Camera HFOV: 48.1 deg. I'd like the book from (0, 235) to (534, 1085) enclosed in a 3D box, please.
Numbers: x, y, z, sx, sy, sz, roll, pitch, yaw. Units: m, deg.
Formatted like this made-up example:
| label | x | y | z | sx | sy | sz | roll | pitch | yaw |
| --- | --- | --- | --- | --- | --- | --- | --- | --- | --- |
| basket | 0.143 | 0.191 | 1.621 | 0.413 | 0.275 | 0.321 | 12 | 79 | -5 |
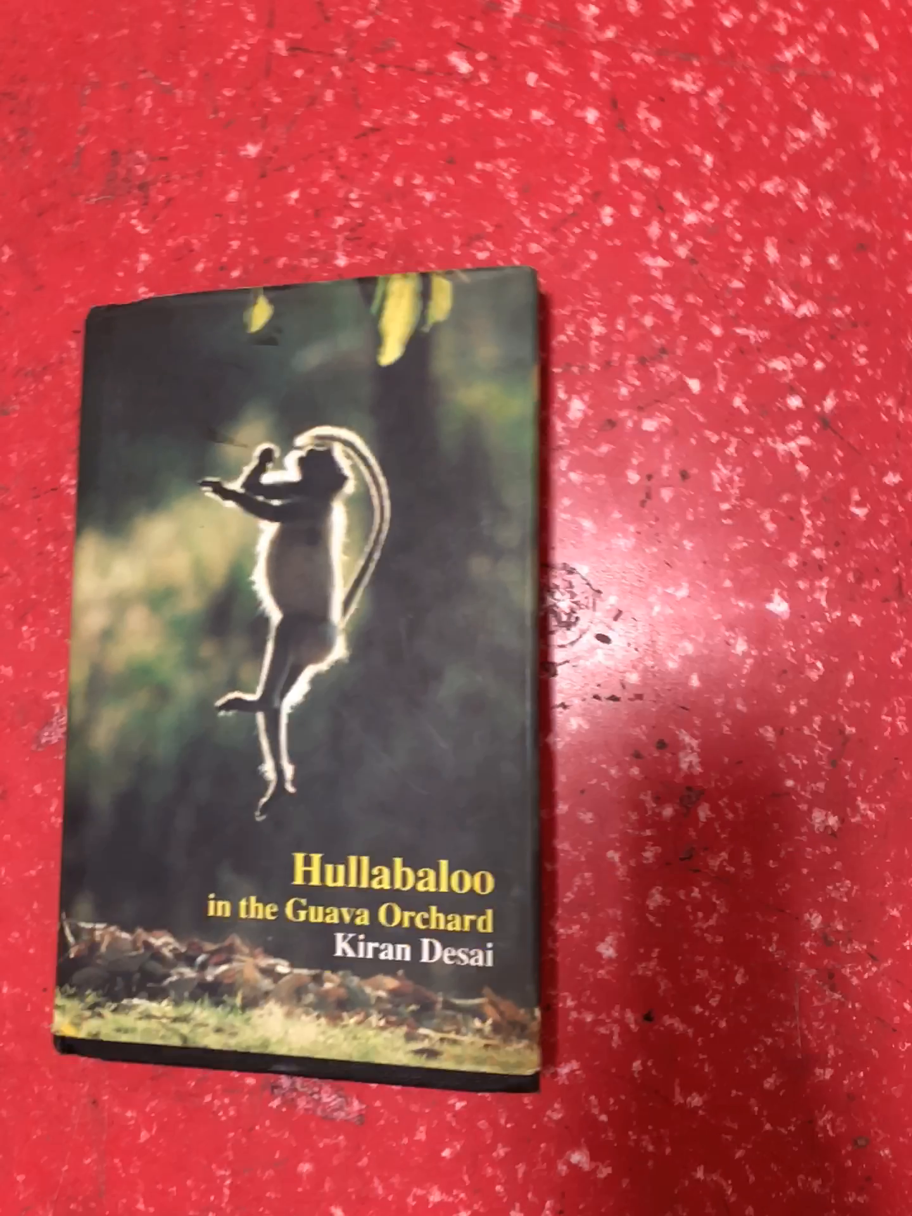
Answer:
| label | x | y | z | sx | sy | sz | roll | pitch | yaw |
| --- | --- | --- | --- | --- | --- | --- | --- | --- | --- |
| book | -0.059 | 0.012 | 0.308 | 0.160 | 0.030 | 0.230 | -1 | 84 | 12 |
